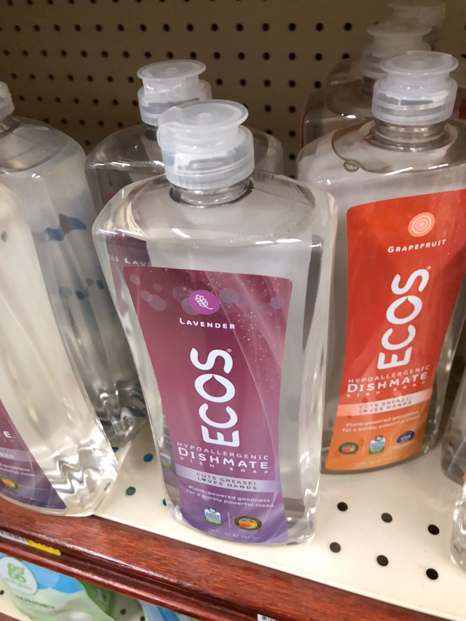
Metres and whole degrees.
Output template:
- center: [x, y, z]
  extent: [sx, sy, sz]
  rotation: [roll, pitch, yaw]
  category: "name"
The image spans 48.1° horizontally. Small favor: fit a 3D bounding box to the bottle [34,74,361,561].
- center: [0.000, 0.027, 0.239]
  extent: [0.090, 0.243, 0.048]
  rotation: [6, 42, 14]
  category: "bottle"
